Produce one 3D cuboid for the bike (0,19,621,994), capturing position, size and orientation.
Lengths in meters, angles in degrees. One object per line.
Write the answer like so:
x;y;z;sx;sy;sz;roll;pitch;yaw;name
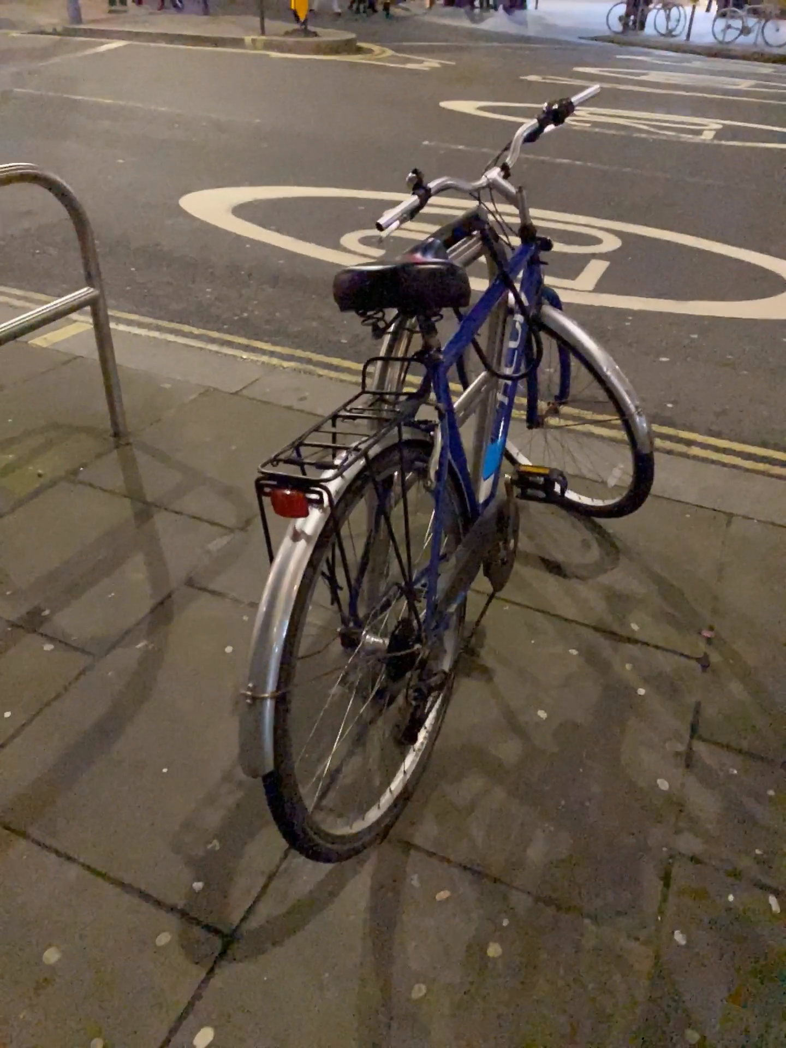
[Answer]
0.009;-0.272;1.625;0.655;1.108;1.604;9;38;11;bike
